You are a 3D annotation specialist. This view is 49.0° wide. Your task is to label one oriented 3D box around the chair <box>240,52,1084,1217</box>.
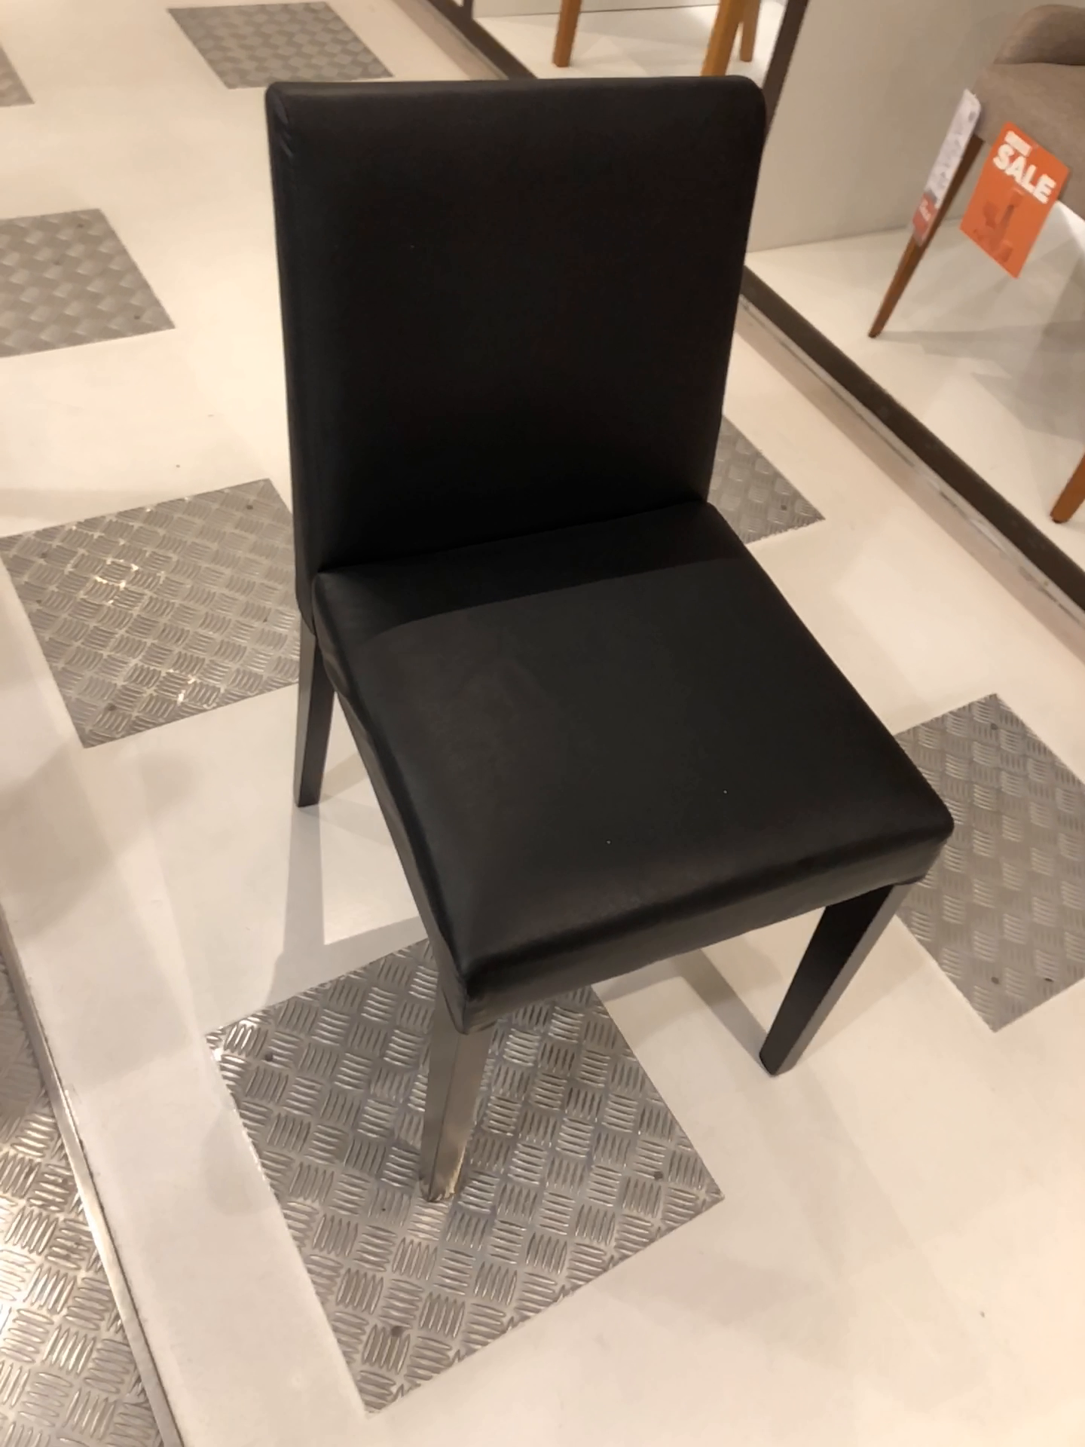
[{"bbox_3d":[0.043,-0.042,1.067,0.471,0.824,0.553,-12,54,-21],"label":"chair"}]
